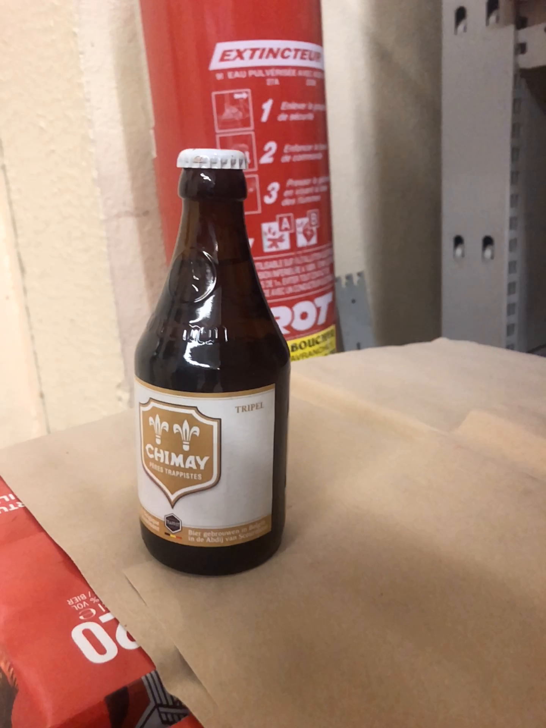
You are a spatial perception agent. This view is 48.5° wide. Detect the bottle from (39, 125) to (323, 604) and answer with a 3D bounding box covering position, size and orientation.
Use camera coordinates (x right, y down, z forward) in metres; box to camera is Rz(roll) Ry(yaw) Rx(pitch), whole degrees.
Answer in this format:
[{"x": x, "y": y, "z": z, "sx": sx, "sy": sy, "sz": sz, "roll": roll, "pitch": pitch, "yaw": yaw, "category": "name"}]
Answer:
[{"x": -0.032, "y": -0.005, "z": 0.254, "sx": 0.080, "sy": 0.169, "sz": 0.070, "roll": 10, "pitch": 20, "yaw": 31, "category": "bottle"}]
